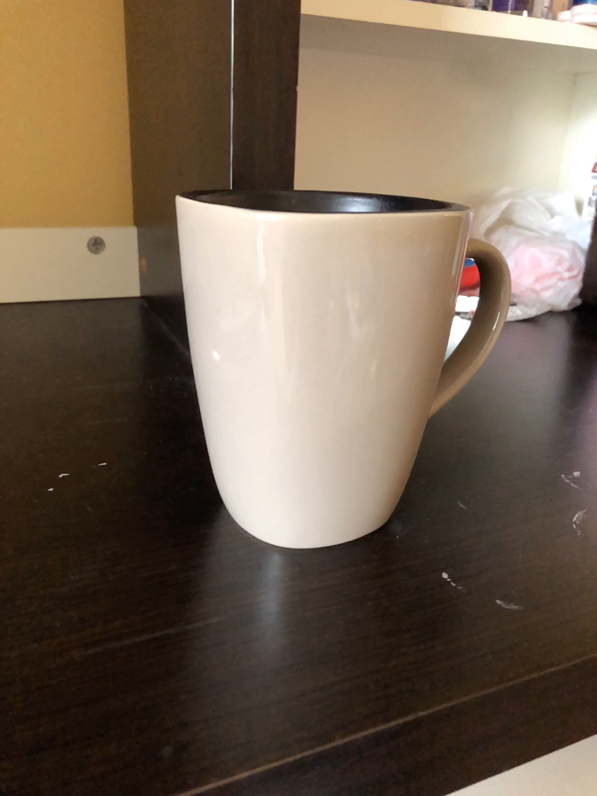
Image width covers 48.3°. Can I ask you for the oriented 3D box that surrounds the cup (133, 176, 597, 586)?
[{"bbox_3d":[0.018,-0.020,0.252,0.130,0.110,0.100,-8,24,-28],"label":"cup"}]
